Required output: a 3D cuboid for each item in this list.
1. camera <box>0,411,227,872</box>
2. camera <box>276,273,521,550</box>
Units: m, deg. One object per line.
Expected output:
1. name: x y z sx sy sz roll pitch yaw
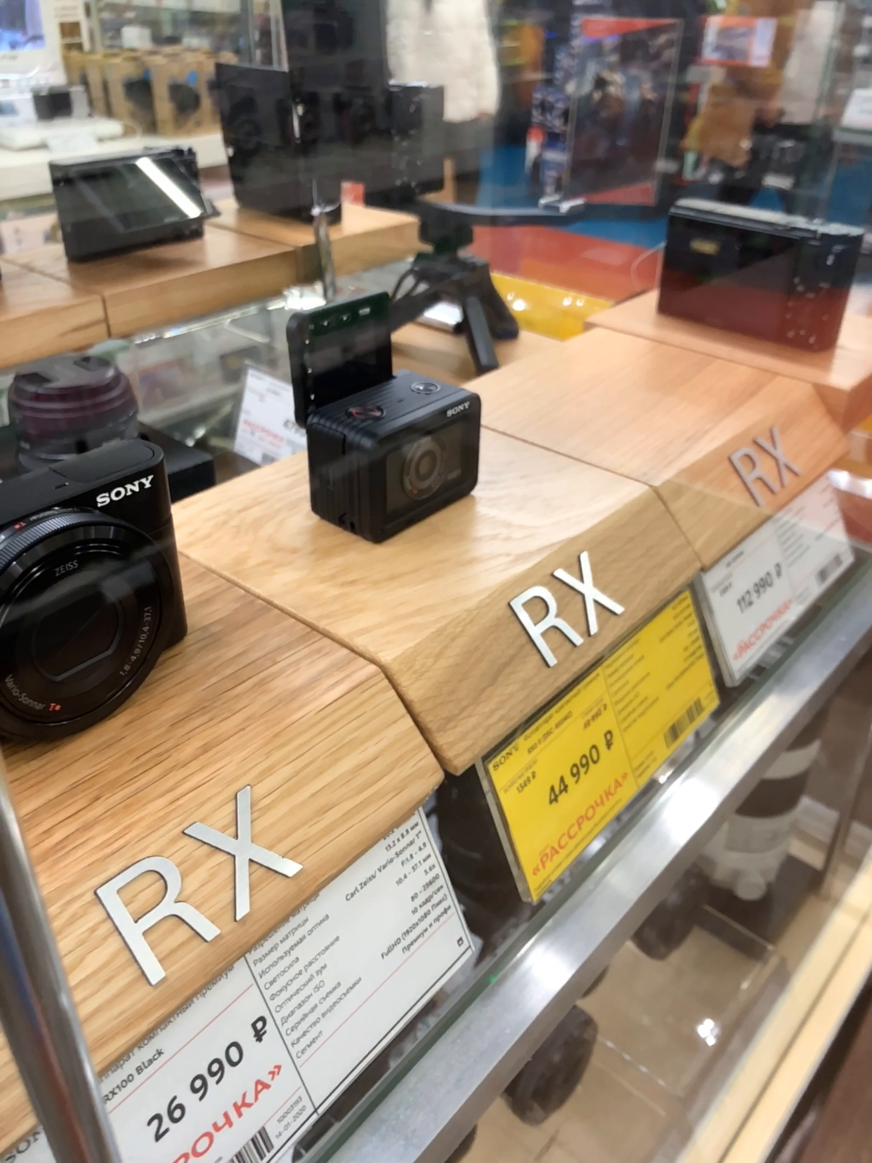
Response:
1. camera: -0.111 0.009 0.247 0.041 0.067 0.106 26 40 32
2. camera: -0.012 -0.060 0.332 0.050 0.067 0.063 26 40 32
